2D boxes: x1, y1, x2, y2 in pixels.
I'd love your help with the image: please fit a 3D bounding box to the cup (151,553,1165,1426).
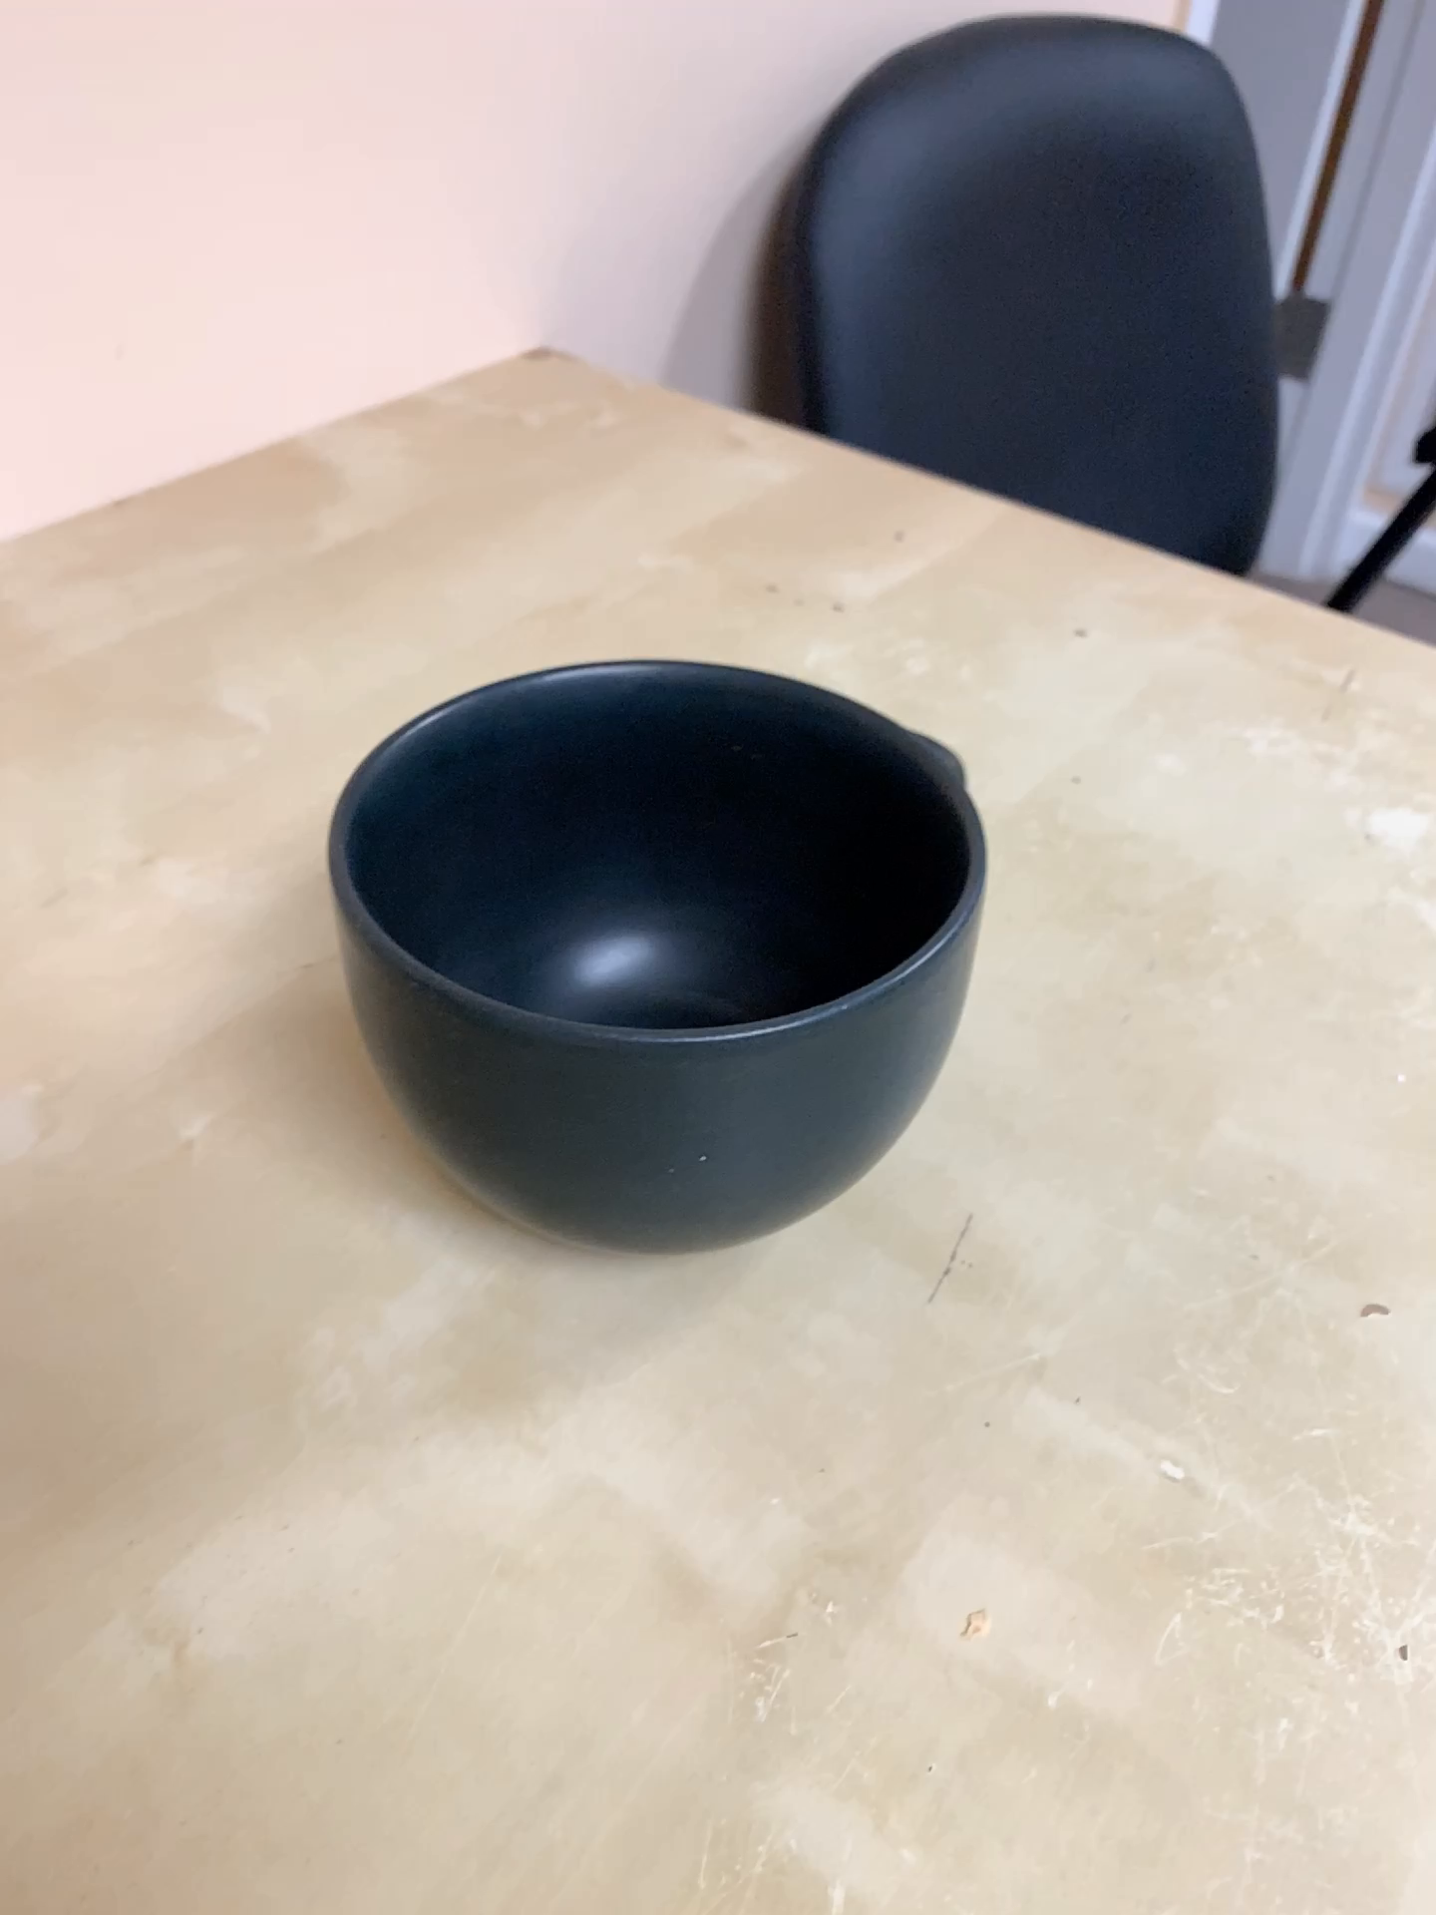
[{"bbox_3d":[-0.007,-0.010,0.322,0.135,0.068,0.159,29,46,27],"label":"cup"}]
